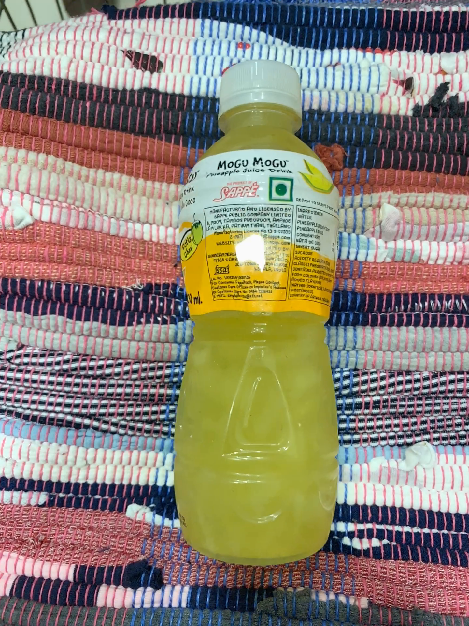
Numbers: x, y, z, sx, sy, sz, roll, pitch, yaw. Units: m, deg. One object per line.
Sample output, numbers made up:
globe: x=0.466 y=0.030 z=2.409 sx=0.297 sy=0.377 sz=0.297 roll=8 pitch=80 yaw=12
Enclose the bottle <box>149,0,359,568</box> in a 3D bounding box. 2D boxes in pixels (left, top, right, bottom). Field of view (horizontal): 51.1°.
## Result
bottle: x=0.006 y=-0.017 z=0.179 sx=0.060 sy=0.050 sz=0.190 roll=0 pitch=81 yaw=0
